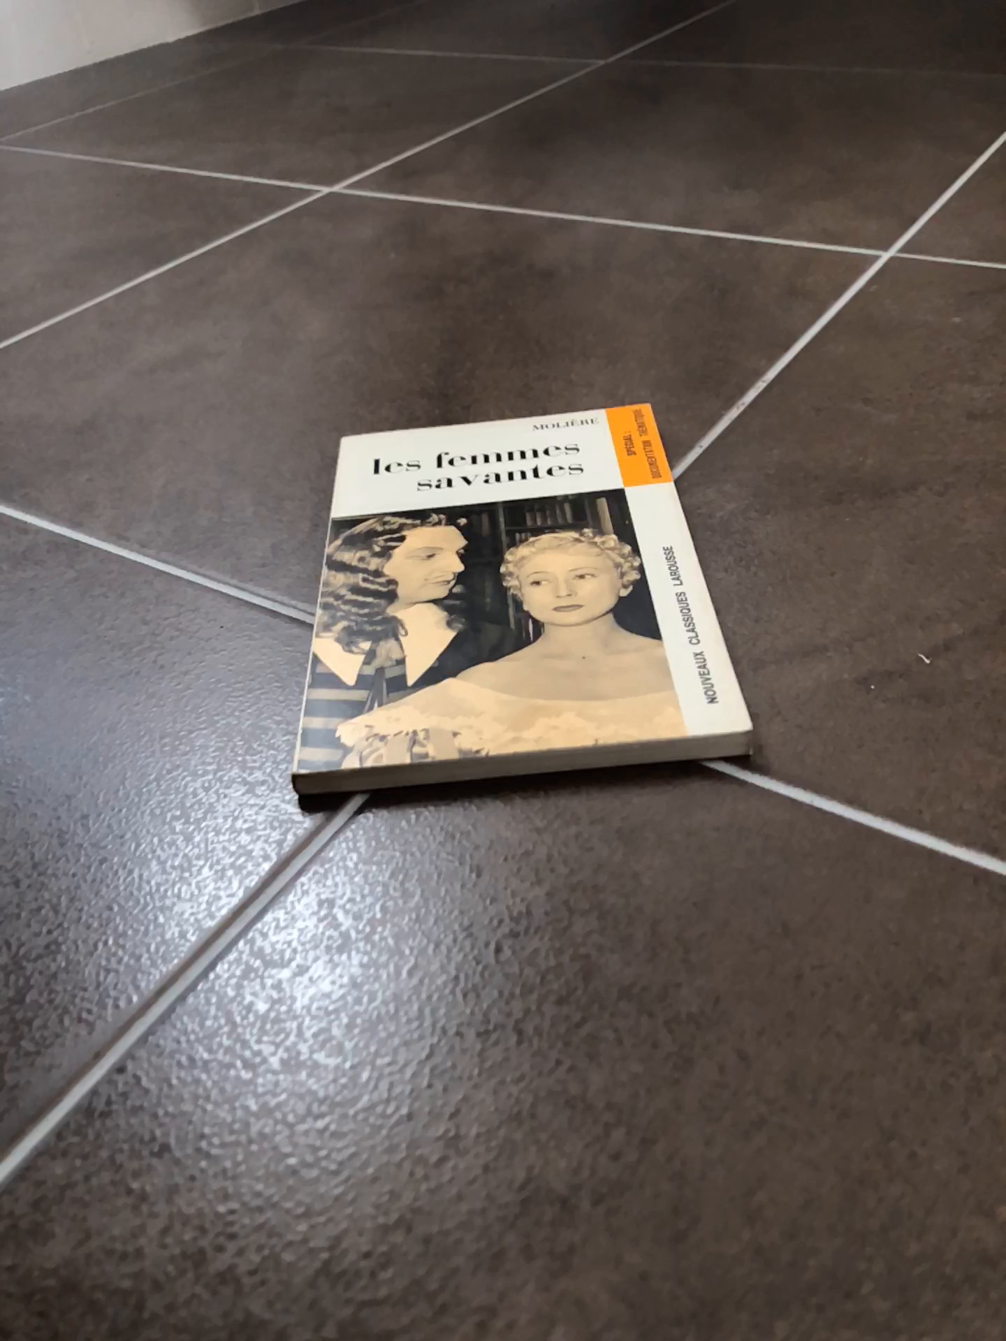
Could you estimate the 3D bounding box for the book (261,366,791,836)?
[{"bbox_3d":[0.002,-0.032,0.320,0.120,0.020,0.171,-5,43,1],"label":"book"}]
